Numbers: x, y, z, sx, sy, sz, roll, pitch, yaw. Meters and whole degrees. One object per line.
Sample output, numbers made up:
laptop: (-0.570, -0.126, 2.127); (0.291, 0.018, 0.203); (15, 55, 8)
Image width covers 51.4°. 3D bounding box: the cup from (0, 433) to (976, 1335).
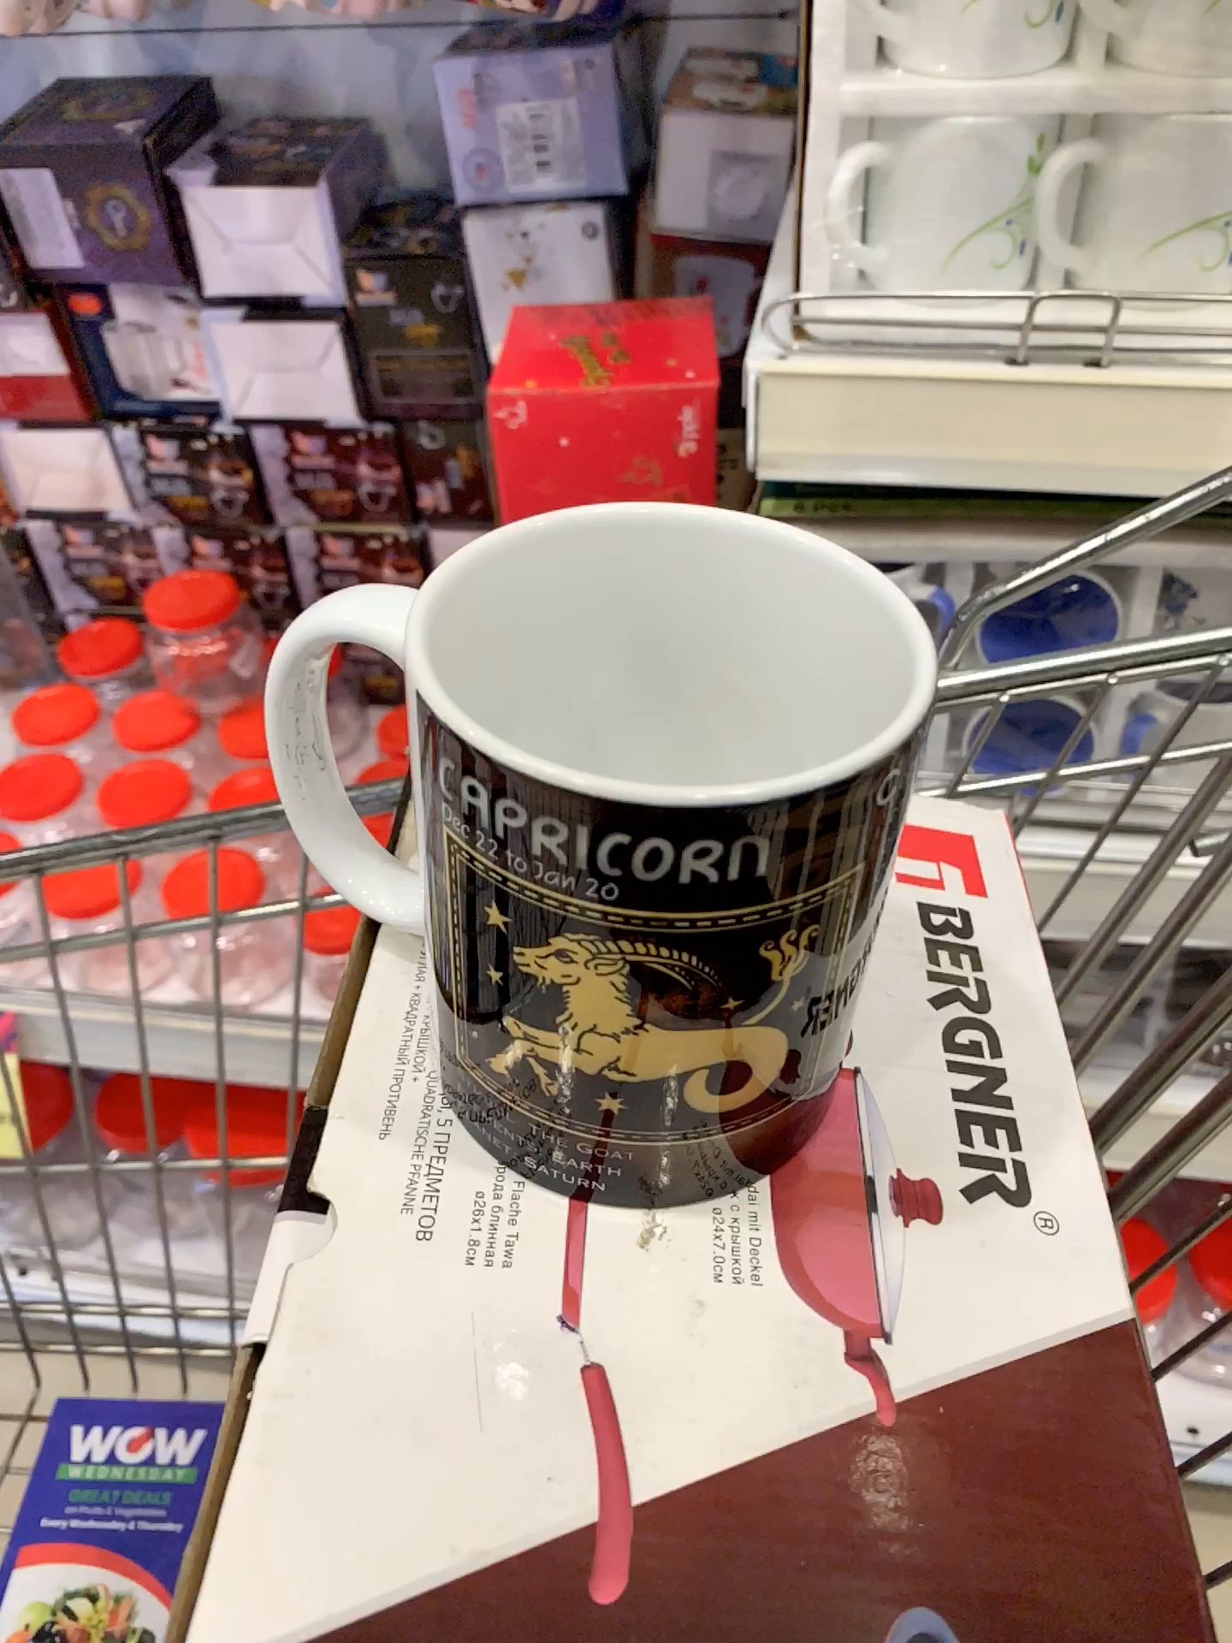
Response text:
cup: (-0.016, 0.006, 0.205); (0.120, 0.090, 0.080); (13, 44, 12)
